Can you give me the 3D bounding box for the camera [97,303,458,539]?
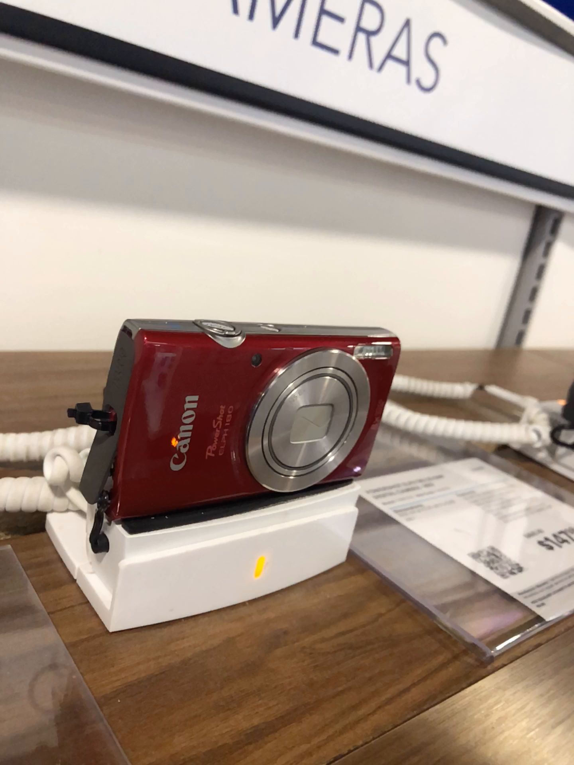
[{"bbox_3d":[0.001,0.008,0.189,0.100,0.050,0.030,-2,20,-39],"label":"camera"}]
